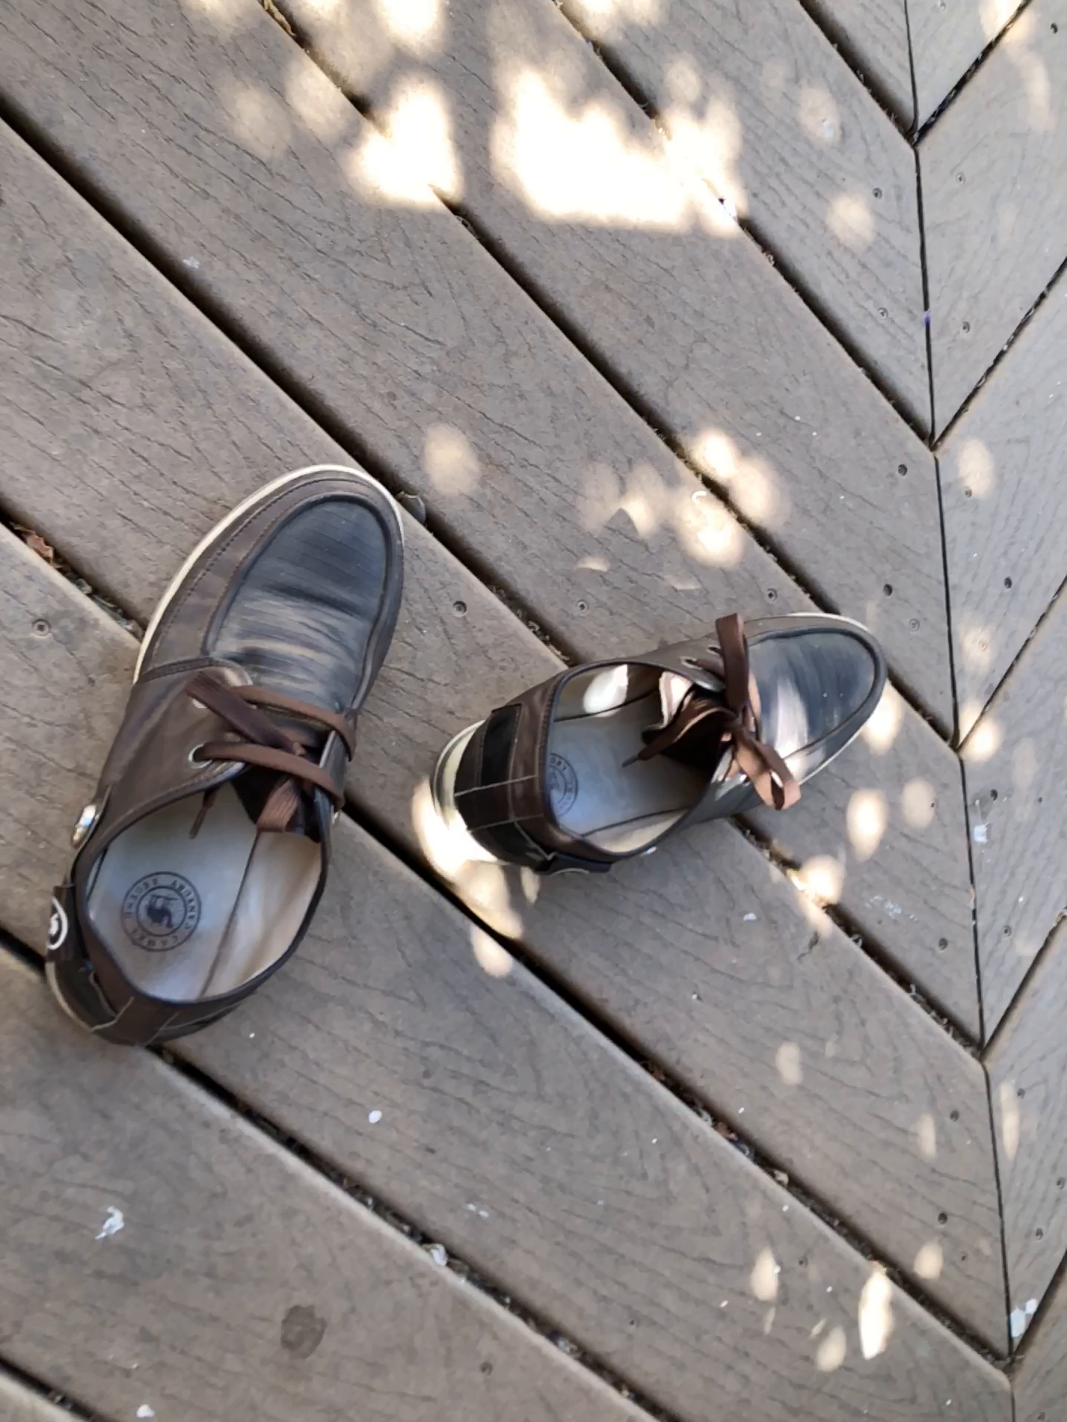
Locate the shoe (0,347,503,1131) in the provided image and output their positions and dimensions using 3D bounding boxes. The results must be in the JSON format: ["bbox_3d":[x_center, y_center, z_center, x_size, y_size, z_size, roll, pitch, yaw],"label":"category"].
[{"bbox_3d":[-0.132,0.011,0.530,0.110,0.116,0.302,23,77,-22],"label":"shoe"}]

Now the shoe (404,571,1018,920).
[{"bbox_3d":[0.101,0.011,0.639,0.304,0.116,0.110,-14,93,-25],"label":"shoe"}]
